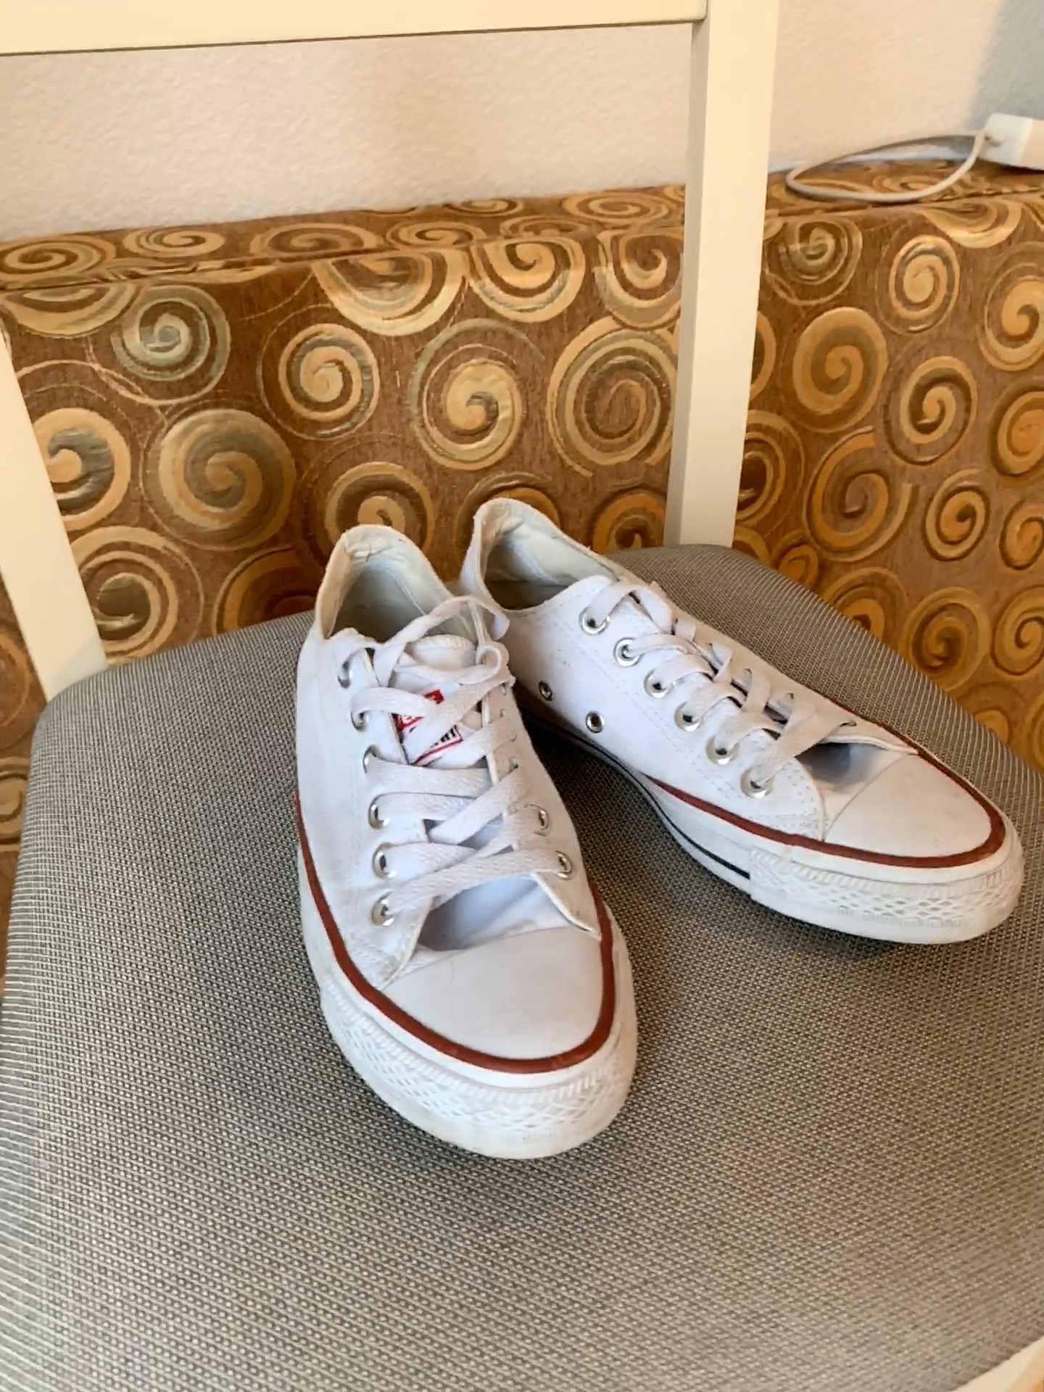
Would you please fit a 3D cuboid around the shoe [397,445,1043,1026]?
[{"bbox_3d":[0.067,-0.002,0.369,0.221,0.060,0.090,34,51,28],"label":"shoe"}]

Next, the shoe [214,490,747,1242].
[{"bbox_3d":[-0.029,0.029,0.327,0.090,0.060,0.221,-12,46,-15],"label":"shoe"}]
